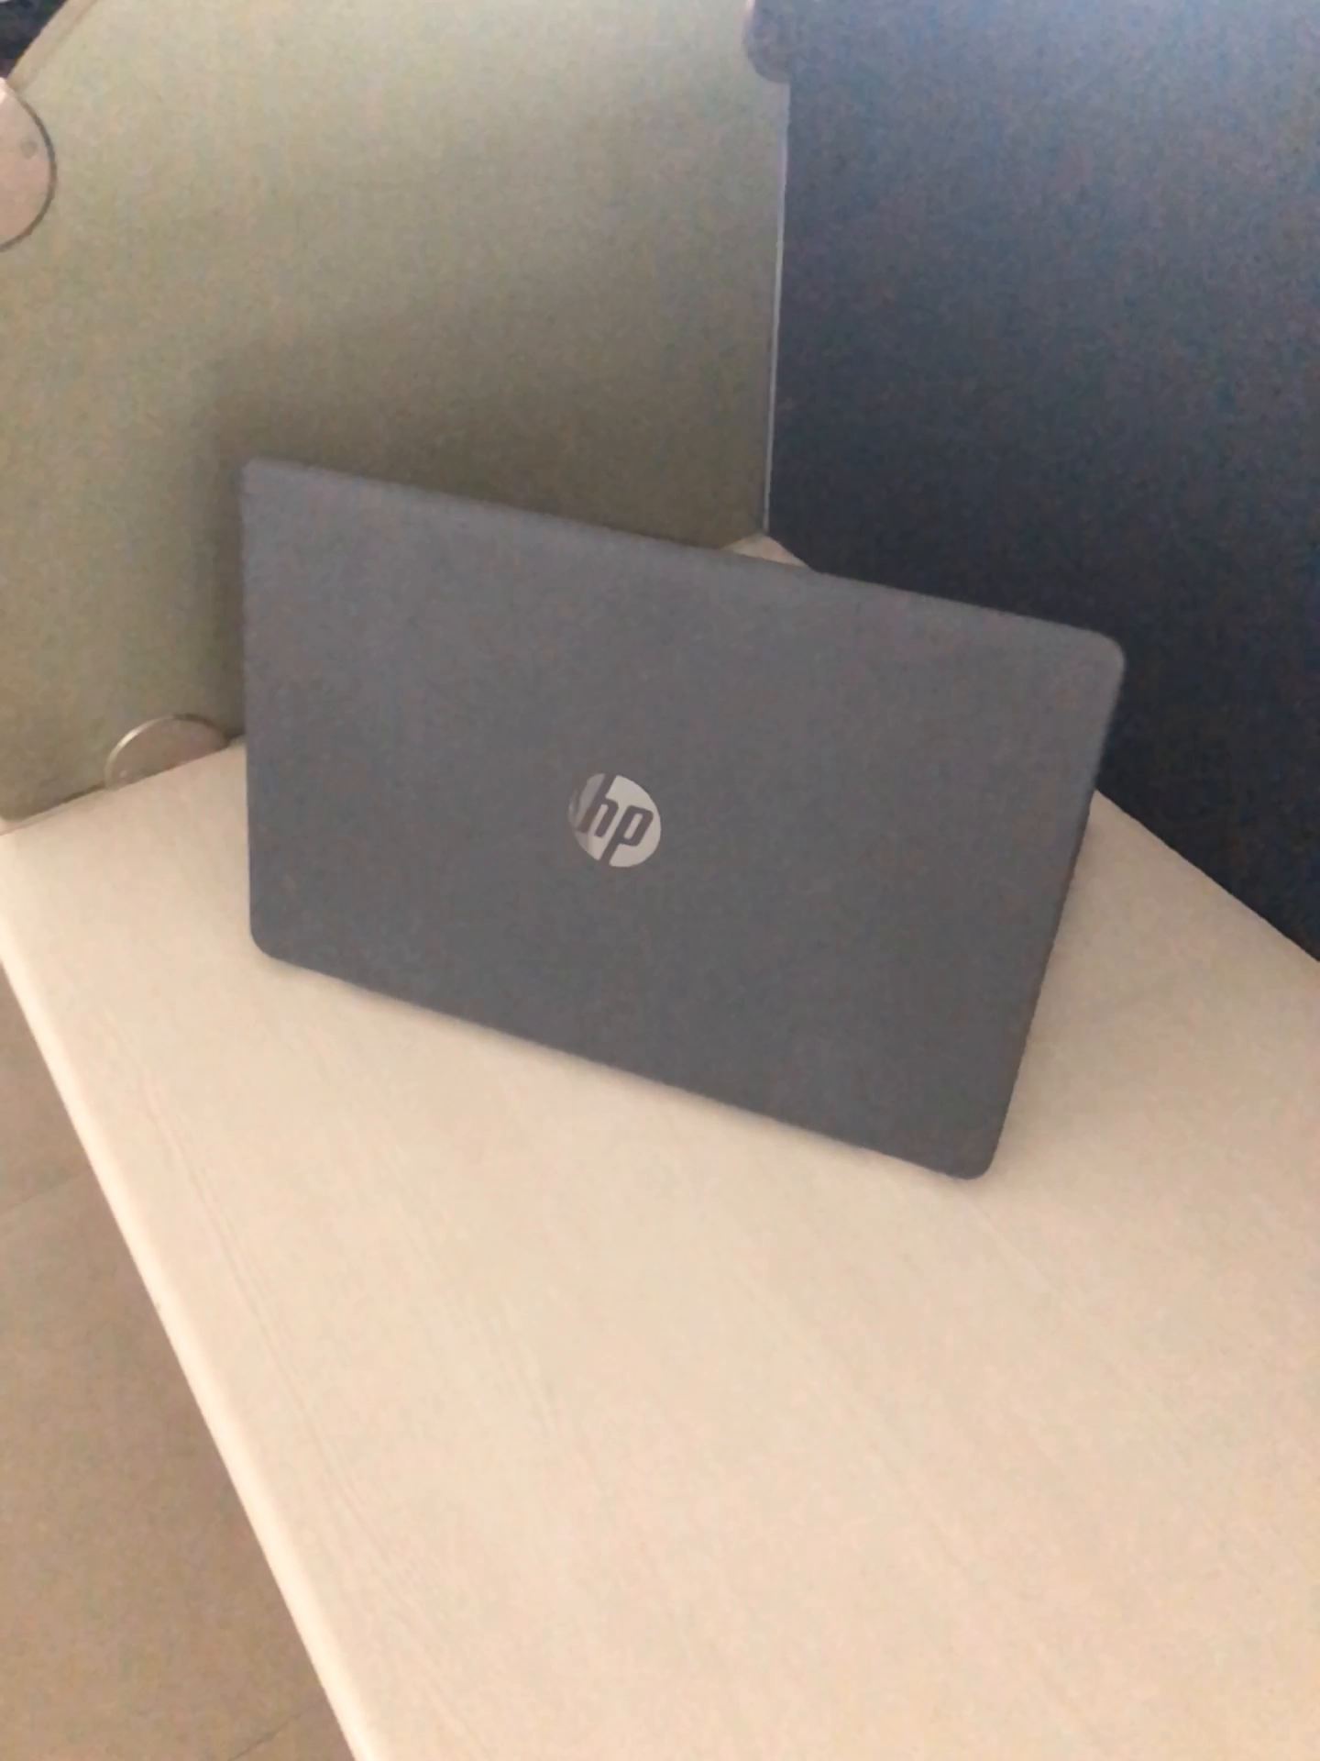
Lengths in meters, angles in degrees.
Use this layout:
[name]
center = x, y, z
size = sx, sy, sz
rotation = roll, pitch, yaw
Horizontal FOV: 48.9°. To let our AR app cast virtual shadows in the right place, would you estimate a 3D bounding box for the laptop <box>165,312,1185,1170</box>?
[laptop]
center = 0.015, -0.080, 0.675
size = 0.360, 0.216, 0.239
rotation = 16, 49, 17
